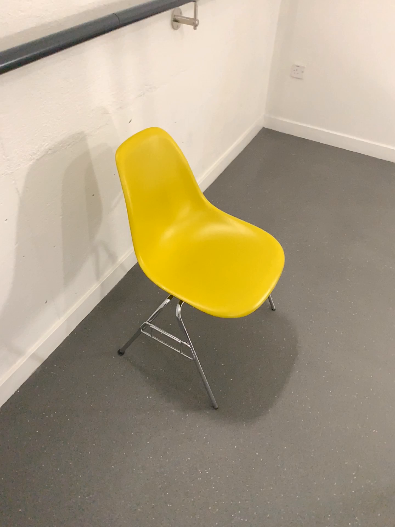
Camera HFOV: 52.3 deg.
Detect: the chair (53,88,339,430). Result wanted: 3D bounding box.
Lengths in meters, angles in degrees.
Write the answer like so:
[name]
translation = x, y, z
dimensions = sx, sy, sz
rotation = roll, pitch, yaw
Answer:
[chair]
translation = 0.025, -0.020, 1.372
dimensions = 0.541, 0.822, 0.635
rotation = 21, 47, 19
